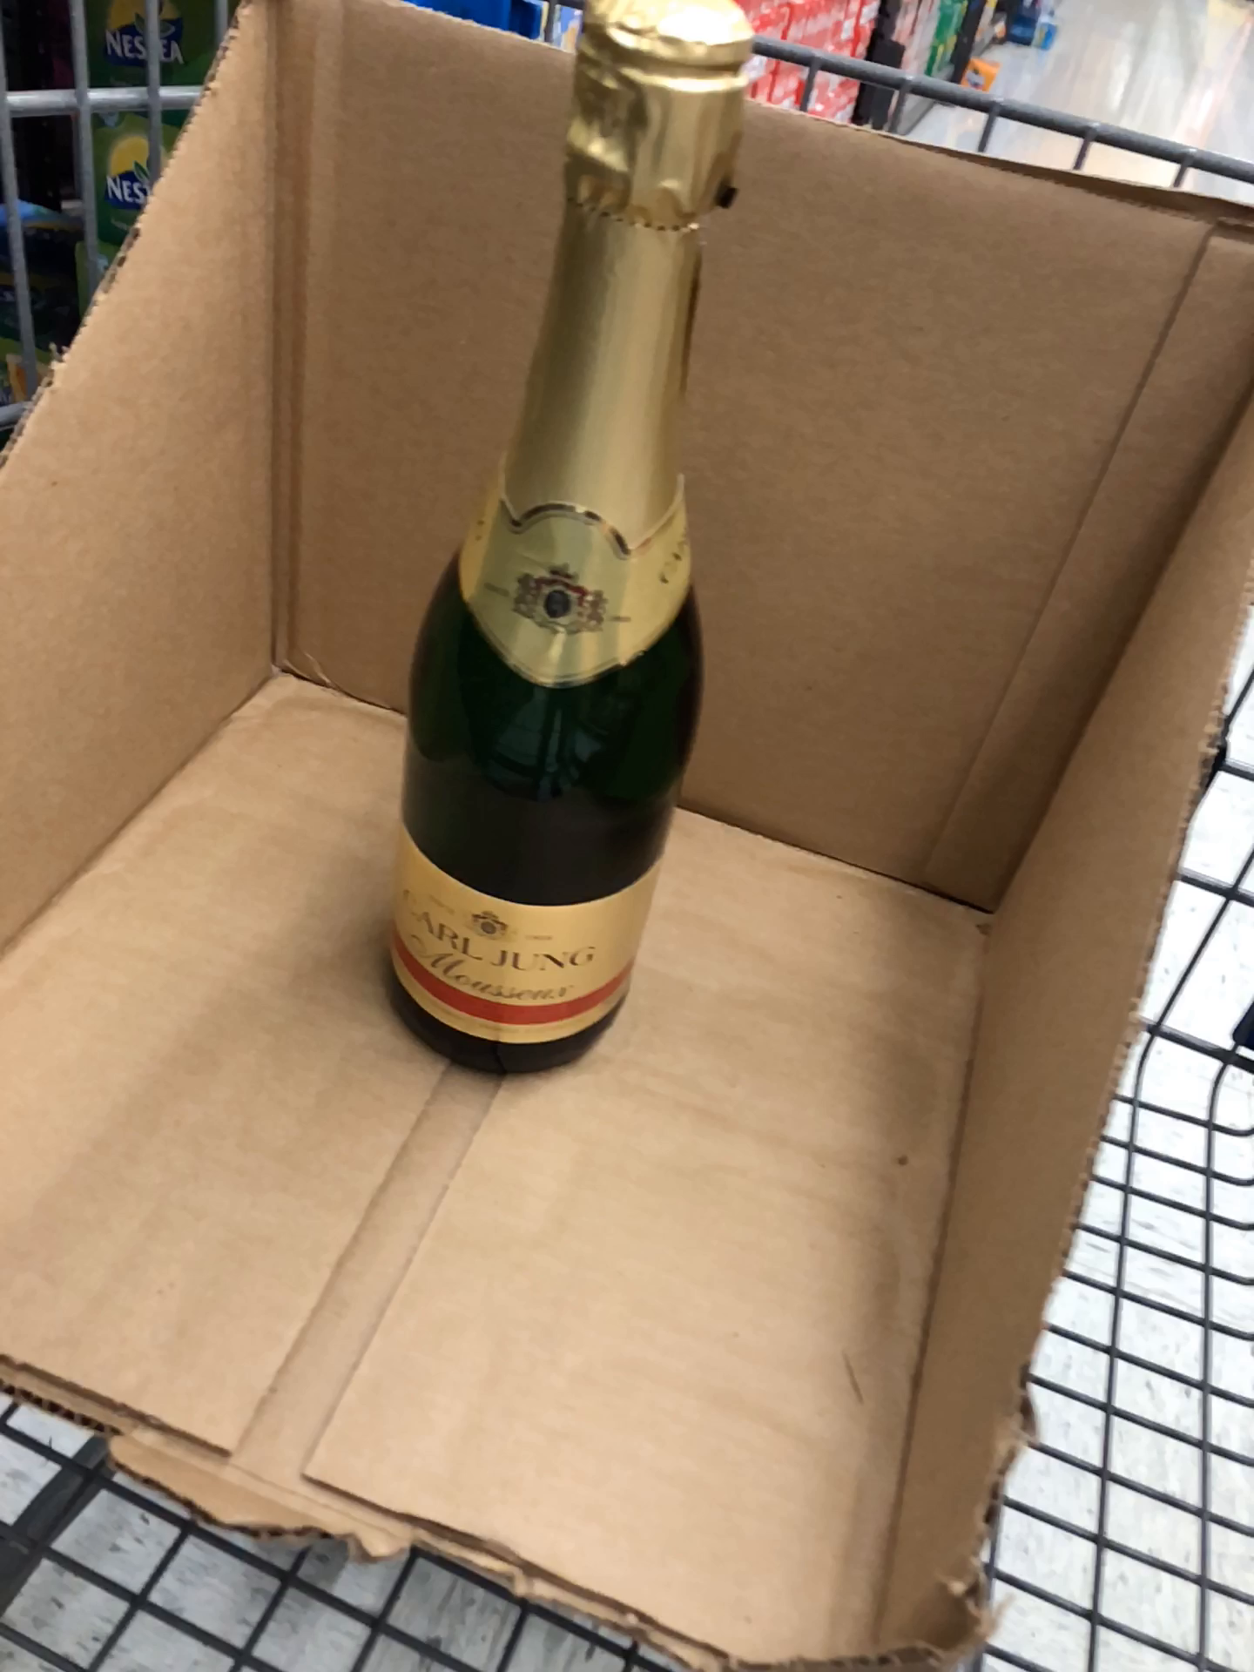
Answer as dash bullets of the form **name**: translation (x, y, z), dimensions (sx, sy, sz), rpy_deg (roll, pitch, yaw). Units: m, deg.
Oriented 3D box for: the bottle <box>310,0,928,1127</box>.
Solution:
- **bottle**: translation (-0.016, -0.061, 0.358), dimensions (0.090, 0.288, 0.081), rpy_deg (18, 38, 6)
